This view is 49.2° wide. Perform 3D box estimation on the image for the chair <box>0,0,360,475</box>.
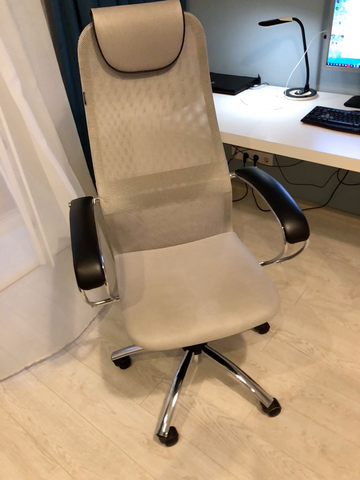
[{"bbox_3d":[0.031,0.010,1.271,0.690,1.291,0.685,-12,37,-9],"label":"chair"}]
